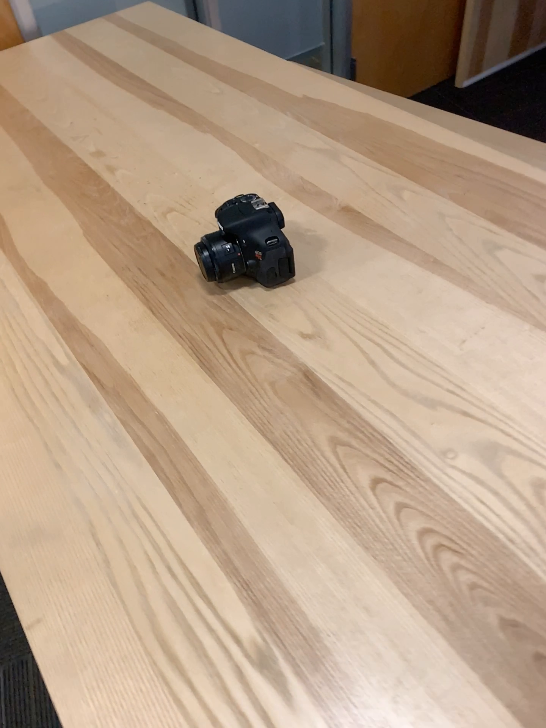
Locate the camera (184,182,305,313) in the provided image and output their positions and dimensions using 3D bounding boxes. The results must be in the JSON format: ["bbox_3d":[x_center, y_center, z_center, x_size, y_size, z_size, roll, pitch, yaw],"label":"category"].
[{"bbox_3d":[-0.039,-0.162,0.766,0.116,0.094,0.123,-22,50,-12],"label":"camera"}]
